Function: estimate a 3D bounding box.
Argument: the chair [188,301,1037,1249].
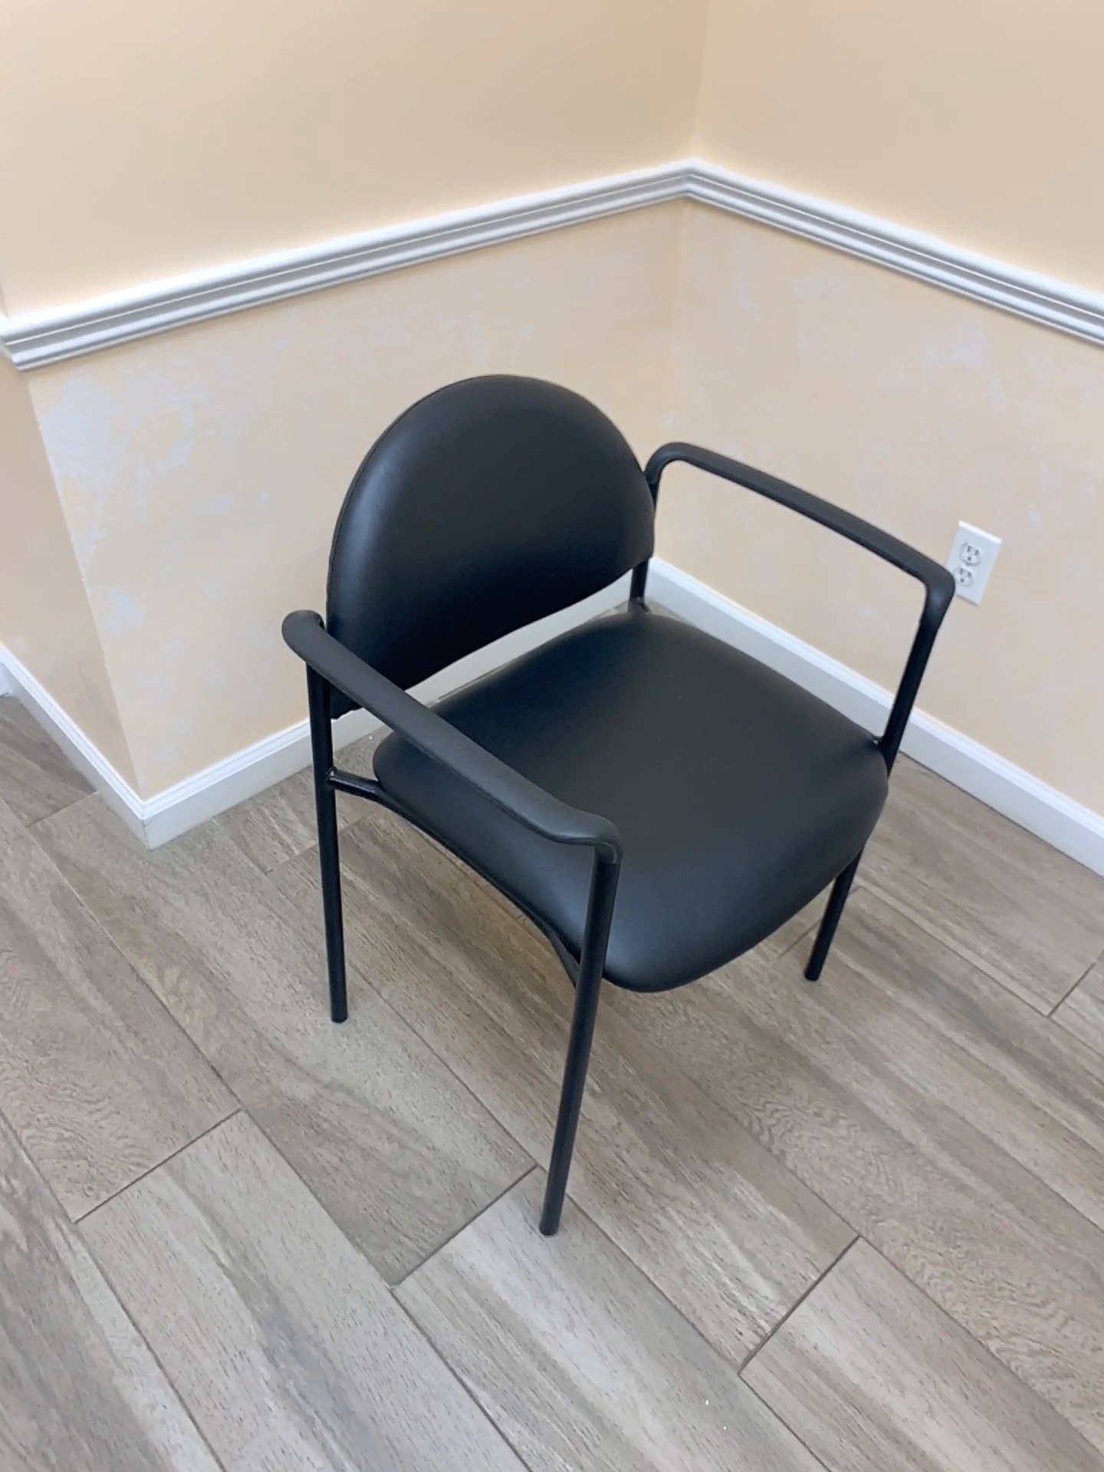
[{"bbox_3d":[0.046,0.022,1.258,0.584,0.726,0.511,-32,53,-34],"label":"chair"}]
